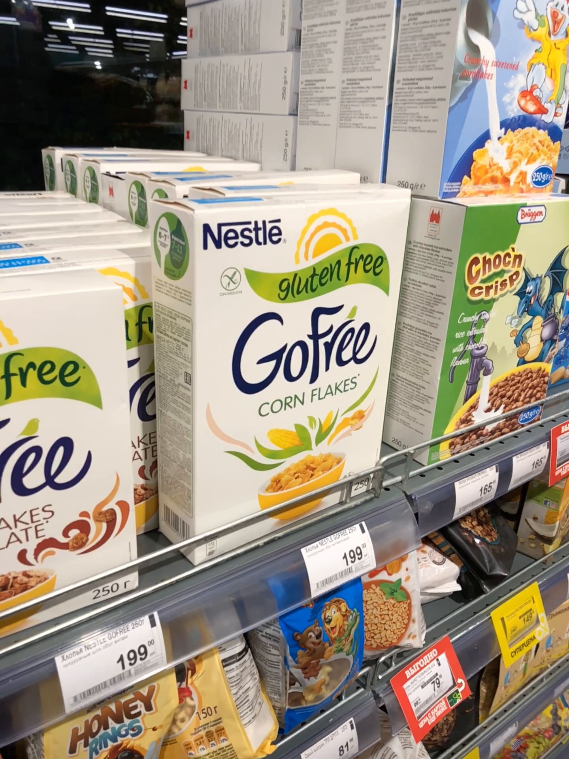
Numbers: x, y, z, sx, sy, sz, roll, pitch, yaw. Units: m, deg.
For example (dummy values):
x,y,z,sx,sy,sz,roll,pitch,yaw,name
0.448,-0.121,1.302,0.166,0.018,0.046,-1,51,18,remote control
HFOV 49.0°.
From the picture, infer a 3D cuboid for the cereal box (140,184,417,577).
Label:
x,y,z,sx,sy,sz,roll,pitch,yaw,name
-0.002,-0.009,0.462,0.190,0.249,0.060,-15,28,-38,cereal box
